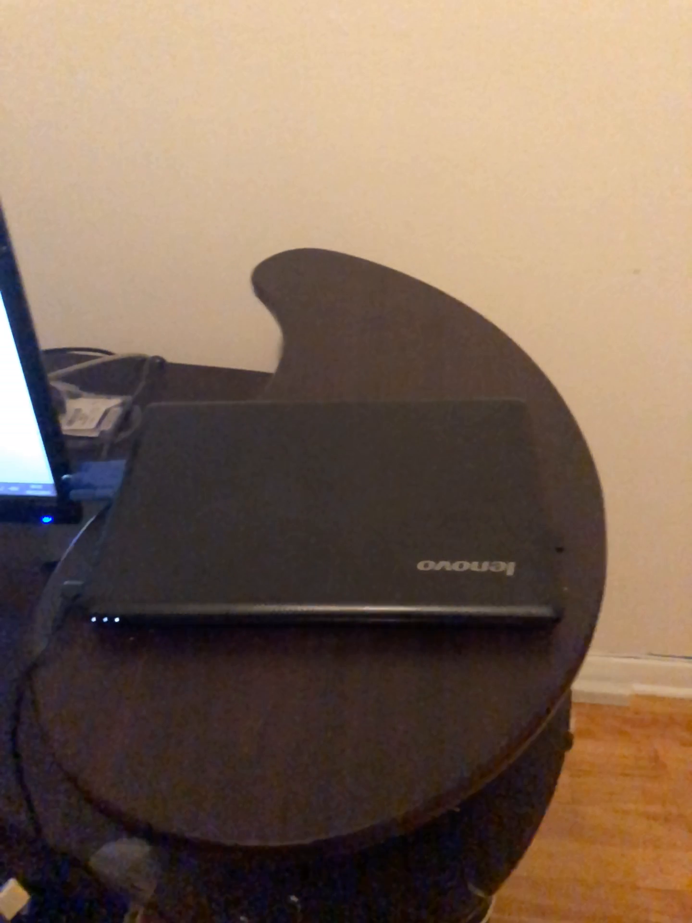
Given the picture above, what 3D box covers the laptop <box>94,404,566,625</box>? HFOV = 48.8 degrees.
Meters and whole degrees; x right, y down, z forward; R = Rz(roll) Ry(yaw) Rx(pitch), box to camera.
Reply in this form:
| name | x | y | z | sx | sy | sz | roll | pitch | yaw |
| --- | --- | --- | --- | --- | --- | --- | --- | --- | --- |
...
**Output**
| name | x | y | z | sx | sy | sz | roll | pitch | yaw |
| --- | --- | --- | --- | --- | --- | --- | --- | --- | --- |
| laptop | -0.009 | 0.026 | 0.479 | 0.259 | 0.008 | 0.173 | -1 | 44 | 6 |
